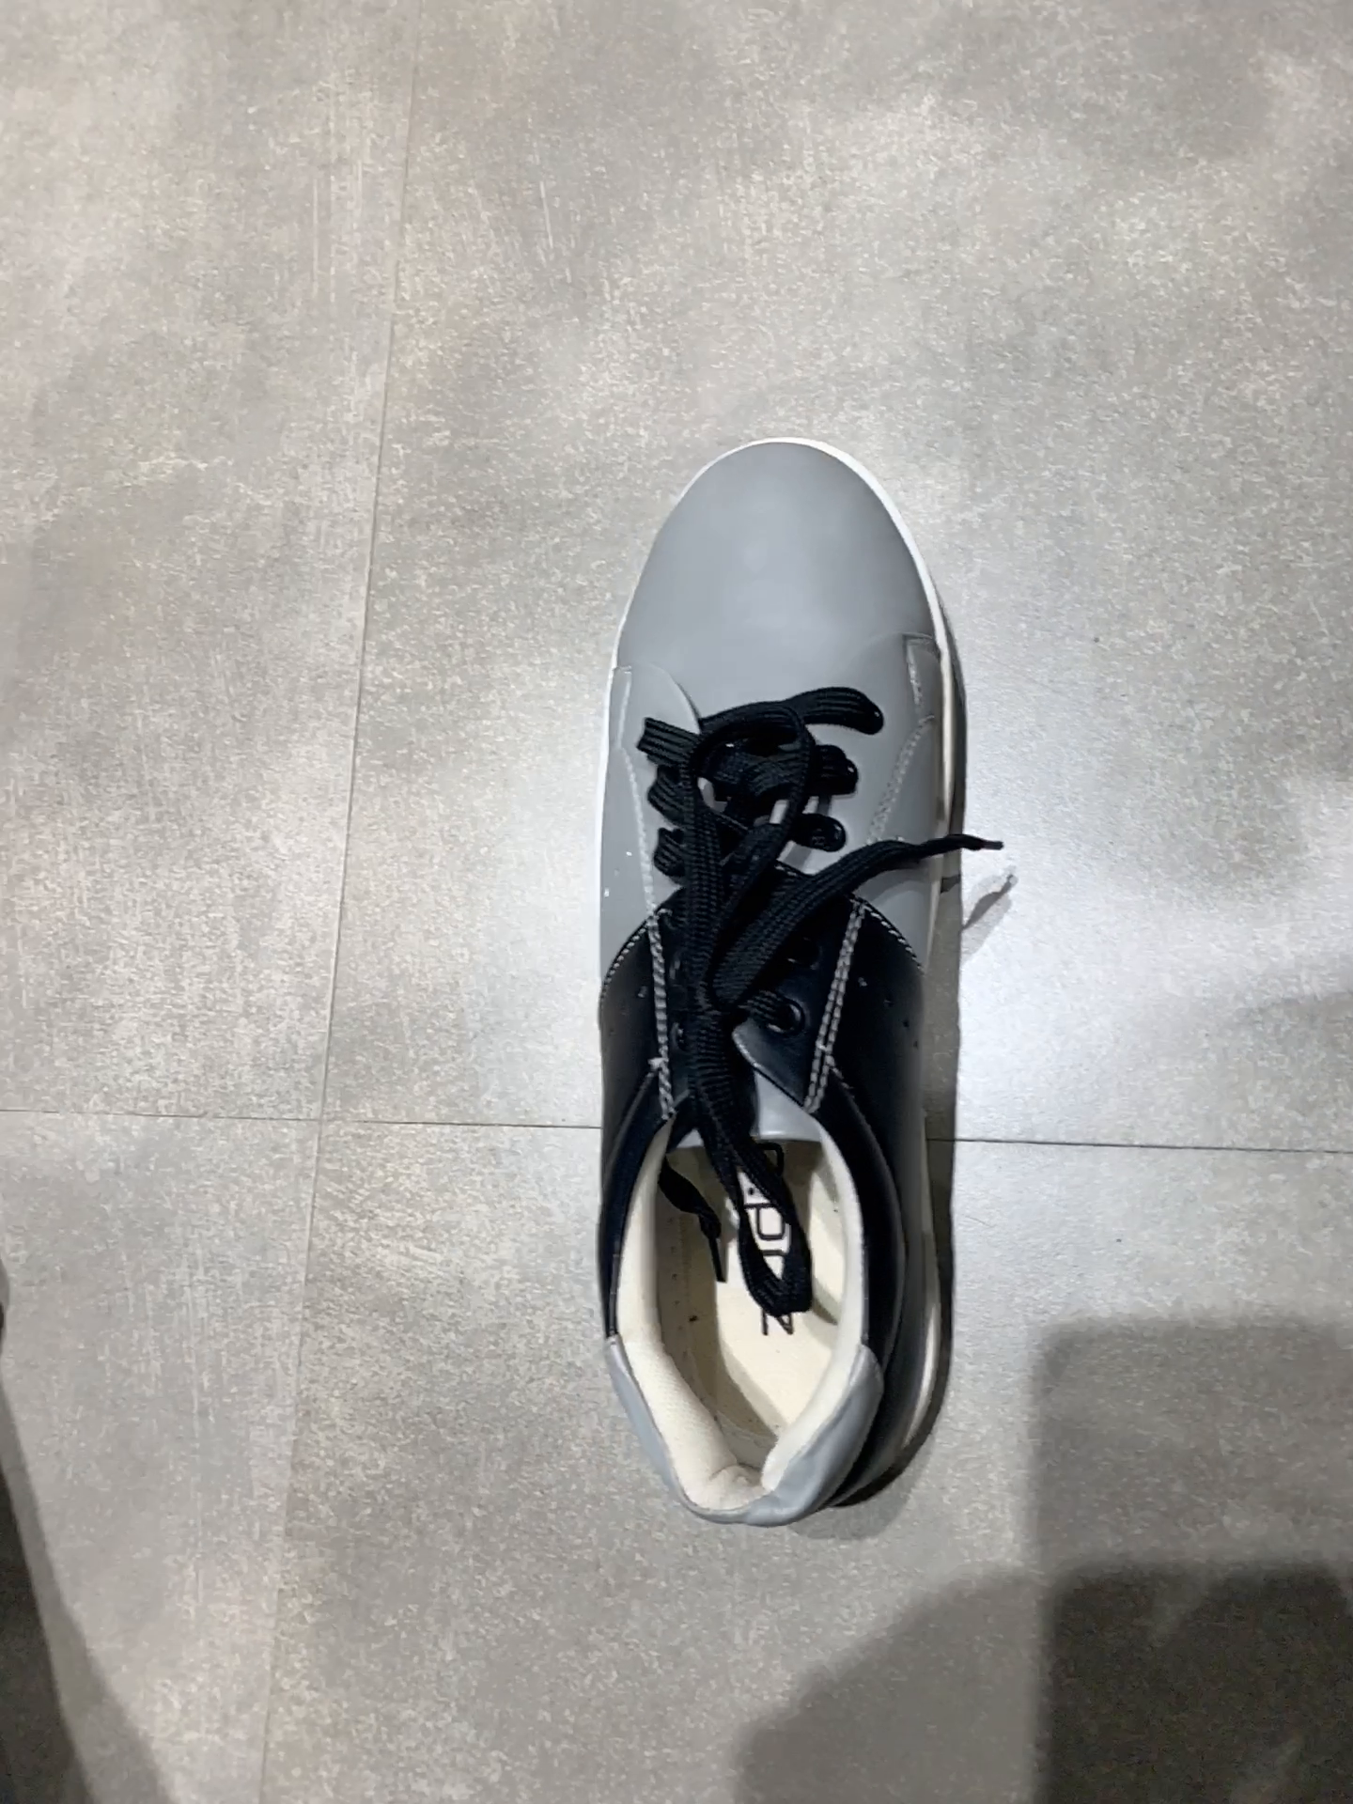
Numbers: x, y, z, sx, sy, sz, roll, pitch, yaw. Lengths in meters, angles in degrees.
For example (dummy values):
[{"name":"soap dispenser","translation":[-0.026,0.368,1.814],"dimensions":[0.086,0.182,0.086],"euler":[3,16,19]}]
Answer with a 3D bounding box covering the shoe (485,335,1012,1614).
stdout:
[{"name":"shoe","translation":[0.026,0.013,0.338],"dimensions":[0.101,0.093,0.263],"euler":[-2,77,15]}]
